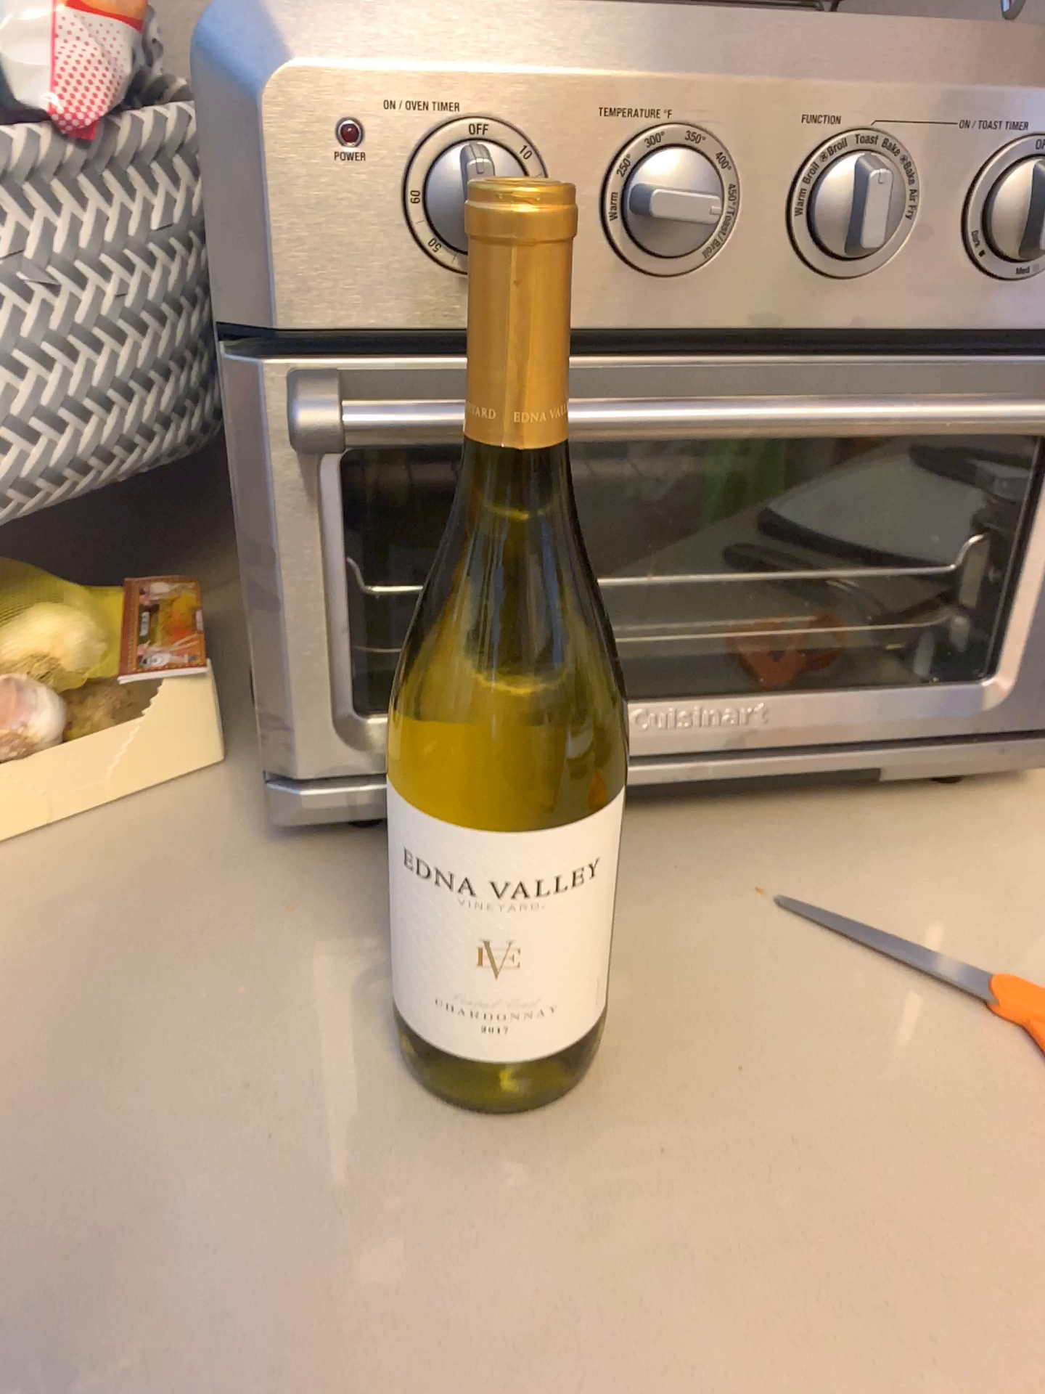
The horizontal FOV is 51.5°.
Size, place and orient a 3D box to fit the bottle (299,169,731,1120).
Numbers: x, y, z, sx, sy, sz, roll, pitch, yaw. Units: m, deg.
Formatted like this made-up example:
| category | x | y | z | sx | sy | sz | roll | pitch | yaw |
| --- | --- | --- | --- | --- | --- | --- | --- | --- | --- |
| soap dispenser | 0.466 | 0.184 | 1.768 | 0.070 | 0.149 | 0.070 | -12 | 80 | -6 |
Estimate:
| category | x | y | z | sx | sy | sz | roll | pitch | yaw |
| --- | --- | --- | --- | --- | --- | --- | --- | --- | --- |
| bottle | -0.005 | -0.004 | 0.333 | 0.090 | 0.278 | 0.091 | 1 | 29 | -1 |
